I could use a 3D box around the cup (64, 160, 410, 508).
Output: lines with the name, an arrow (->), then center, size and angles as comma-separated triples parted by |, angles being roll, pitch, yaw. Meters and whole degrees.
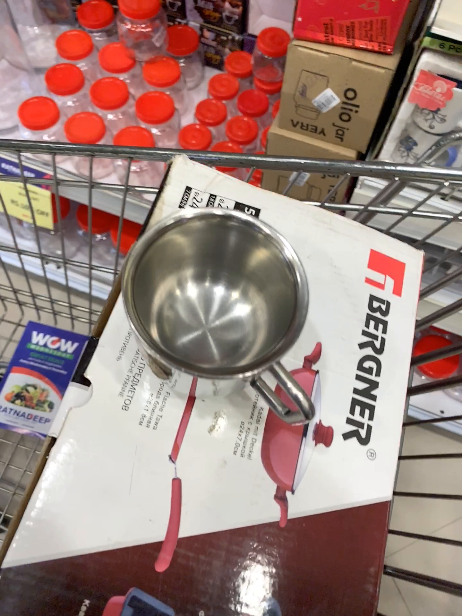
cup -> -0.001, 0.009, 0.164 | 0.060, 0.050, 0.090 | -34, 71, -16
